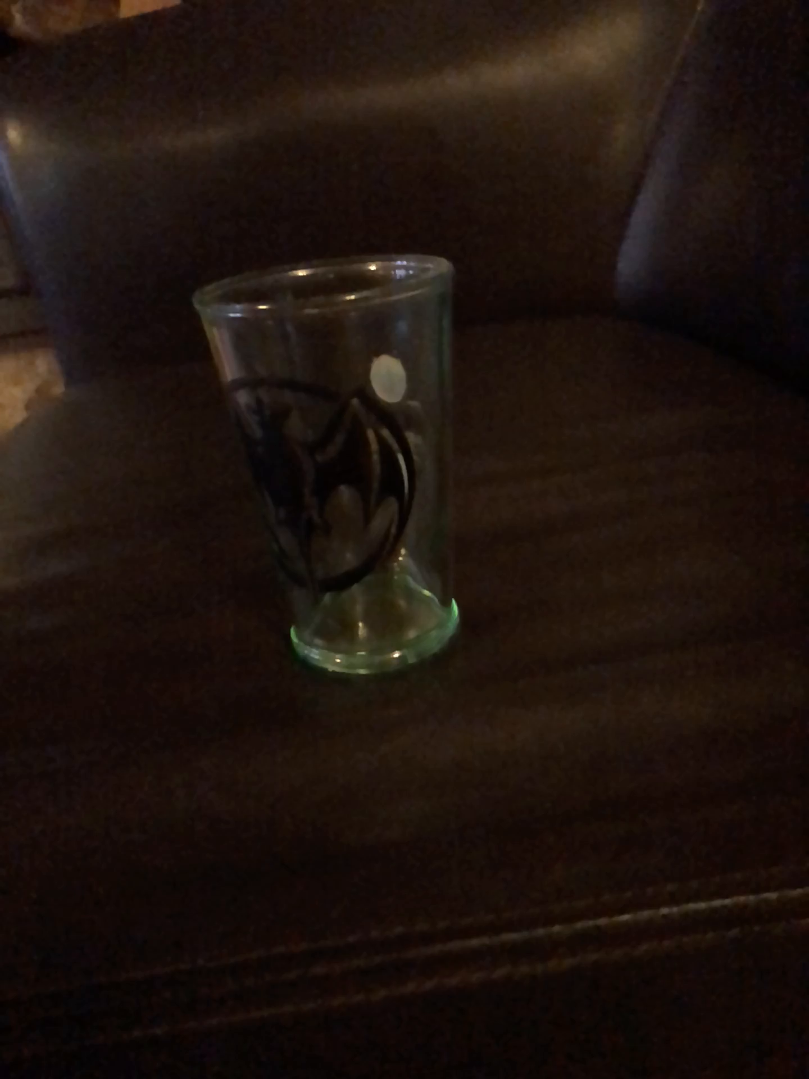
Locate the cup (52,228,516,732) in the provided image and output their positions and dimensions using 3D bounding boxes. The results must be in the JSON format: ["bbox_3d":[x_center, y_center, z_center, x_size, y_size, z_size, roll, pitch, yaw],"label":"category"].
[{"bbox_3d":[-0.028,-0.024,0.273,0.084,0.117,0.088,-7,25,3],"label":"cup"}]
